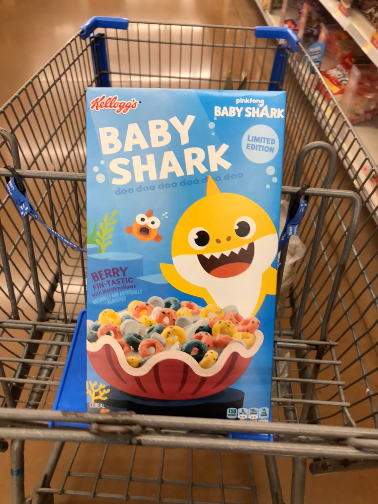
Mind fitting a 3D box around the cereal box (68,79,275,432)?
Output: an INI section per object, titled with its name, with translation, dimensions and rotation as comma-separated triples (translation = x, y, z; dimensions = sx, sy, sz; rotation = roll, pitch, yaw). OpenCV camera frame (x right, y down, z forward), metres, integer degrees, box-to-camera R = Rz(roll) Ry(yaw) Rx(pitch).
[cereal box]
translation = -0.022, 0.008, 0.441
dimensions = 0.190, 0.340, 0.070
rotation = 2, 7, 0
